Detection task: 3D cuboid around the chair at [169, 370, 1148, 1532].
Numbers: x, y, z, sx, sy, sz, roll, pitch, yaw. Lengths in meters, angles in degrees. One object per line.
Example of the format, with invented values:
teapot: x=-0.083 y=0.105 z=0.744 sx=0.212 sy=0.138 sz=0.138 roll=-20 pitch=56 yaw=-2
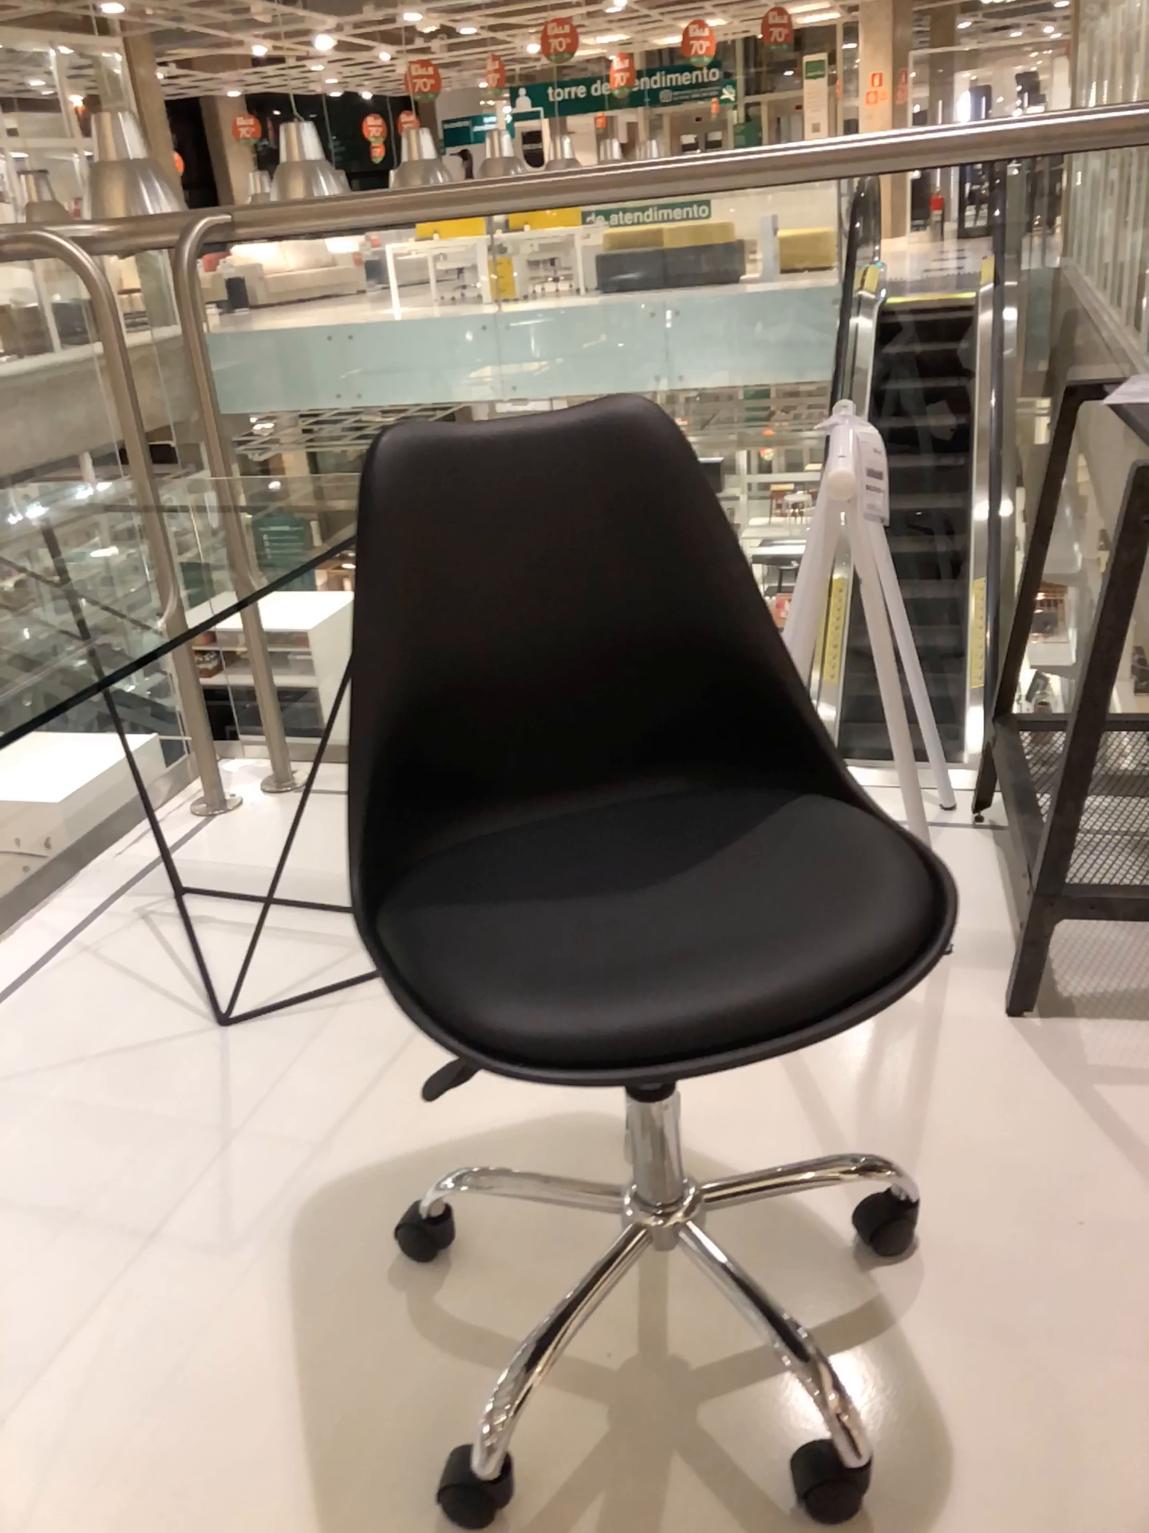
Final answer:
chair: x=0.053 y=0.140 z=1.122 sx=0.630 sy=0.824 sz=0.634 roll=-12 pitch=24 yaw=-13
